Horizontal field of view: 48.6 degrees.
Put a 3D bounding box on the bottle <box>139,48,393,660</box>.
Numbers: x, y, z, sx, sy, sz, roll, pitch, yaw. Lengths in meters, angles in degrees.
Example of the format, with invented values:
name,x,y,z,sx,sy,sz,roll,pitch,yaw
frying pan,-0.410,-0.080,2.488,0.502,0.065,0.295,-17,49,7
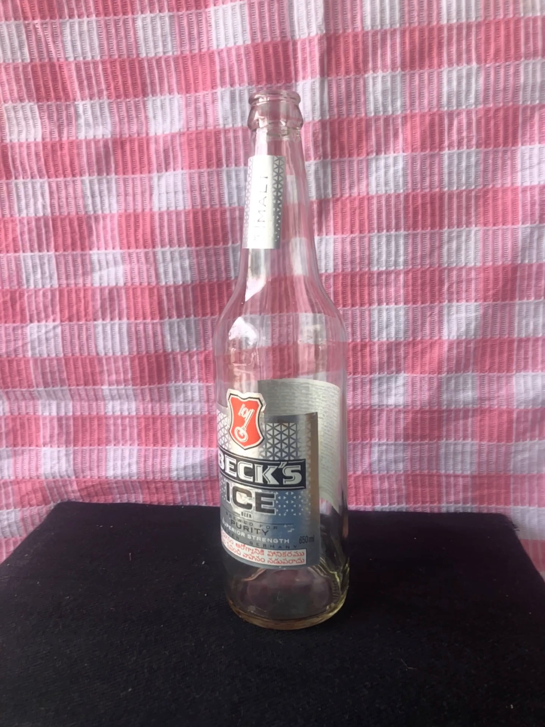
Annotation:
name,x,y,z,sx,sy,sz,roll,pitch,yaw
bottle,-0.002,-0.003,0.317,0.090,0.269,0.080,10,17,38
